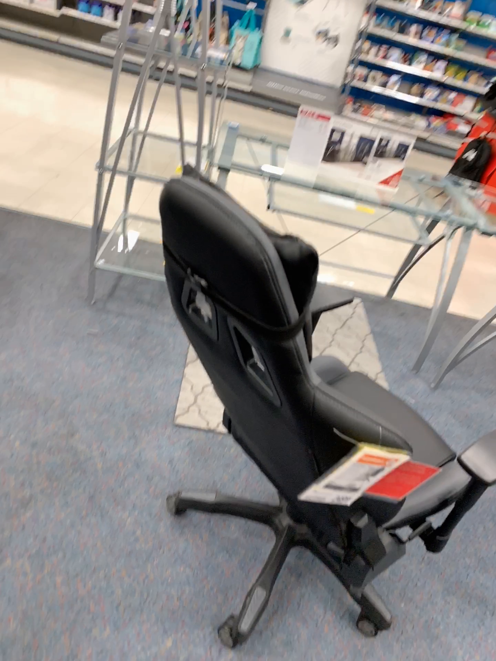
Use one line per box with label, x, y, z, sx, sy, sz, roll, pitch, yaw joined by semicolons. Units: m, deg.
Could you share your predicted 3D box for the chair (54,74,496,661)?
chair;0.183;0.157;1.123;0.914;1.061;0.787;-16;45;-38
